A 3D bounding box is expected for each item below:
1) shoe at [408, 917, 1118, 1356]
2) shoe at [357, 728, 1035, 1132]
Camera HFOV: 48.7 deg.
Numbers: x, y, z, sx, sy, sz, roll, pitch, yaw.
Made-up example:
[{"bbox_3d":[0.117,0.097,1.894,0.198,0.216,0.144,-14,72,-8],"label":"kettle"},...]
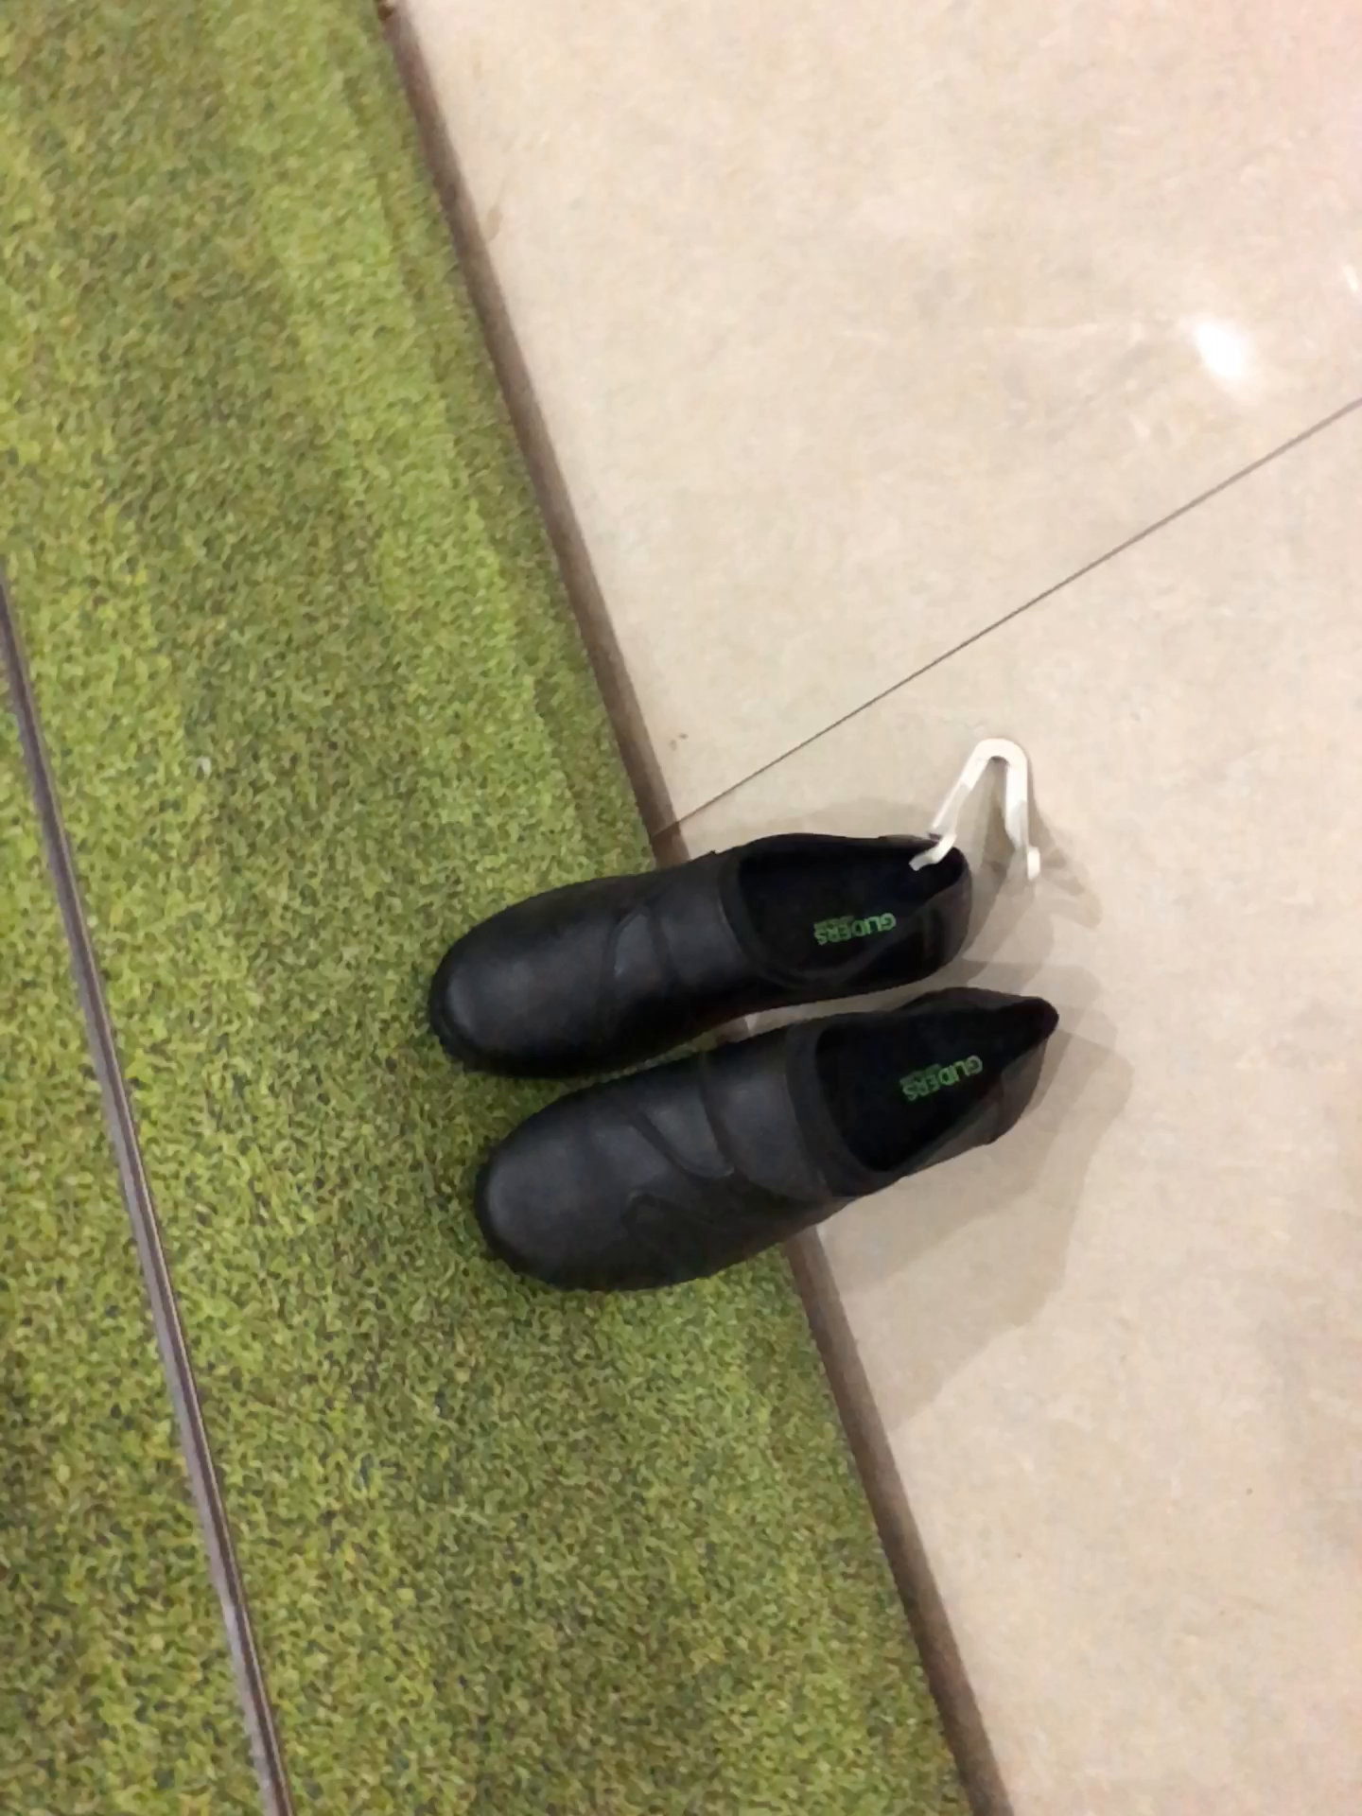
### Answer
[{"bbox_3d":[0.029,0.088,0.575,0.236,0.081,0.090,-17,78,1],"label":"shoe"},{"bbox_3d":[0.006,0.013,0.592,0.236,0.081,0.080,-17,78,1],"label":"shoe"}]
